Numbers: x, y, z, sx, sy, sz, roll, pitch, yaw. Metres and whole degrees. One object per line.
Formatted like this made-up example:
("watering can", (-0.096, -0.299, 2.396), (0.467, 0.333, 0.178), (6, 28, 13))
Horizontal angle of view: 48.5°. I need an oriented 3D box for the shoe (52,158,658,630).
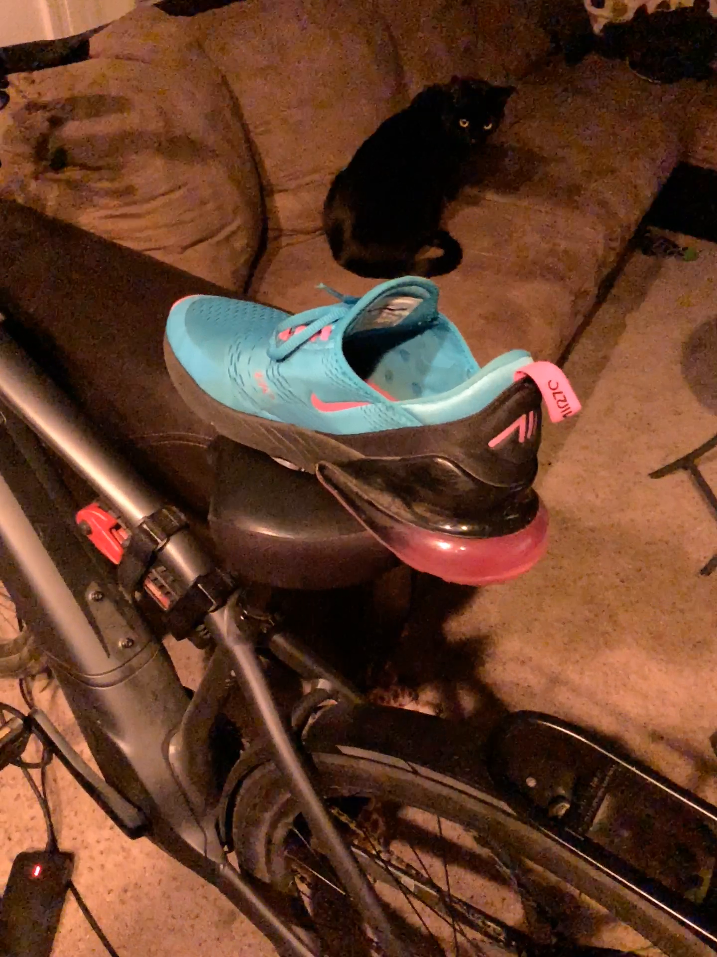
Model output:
("shoe", (-0.012, -0.073, 0.513), (0.330, 0.130, 0.150), (28, 50, 23))
